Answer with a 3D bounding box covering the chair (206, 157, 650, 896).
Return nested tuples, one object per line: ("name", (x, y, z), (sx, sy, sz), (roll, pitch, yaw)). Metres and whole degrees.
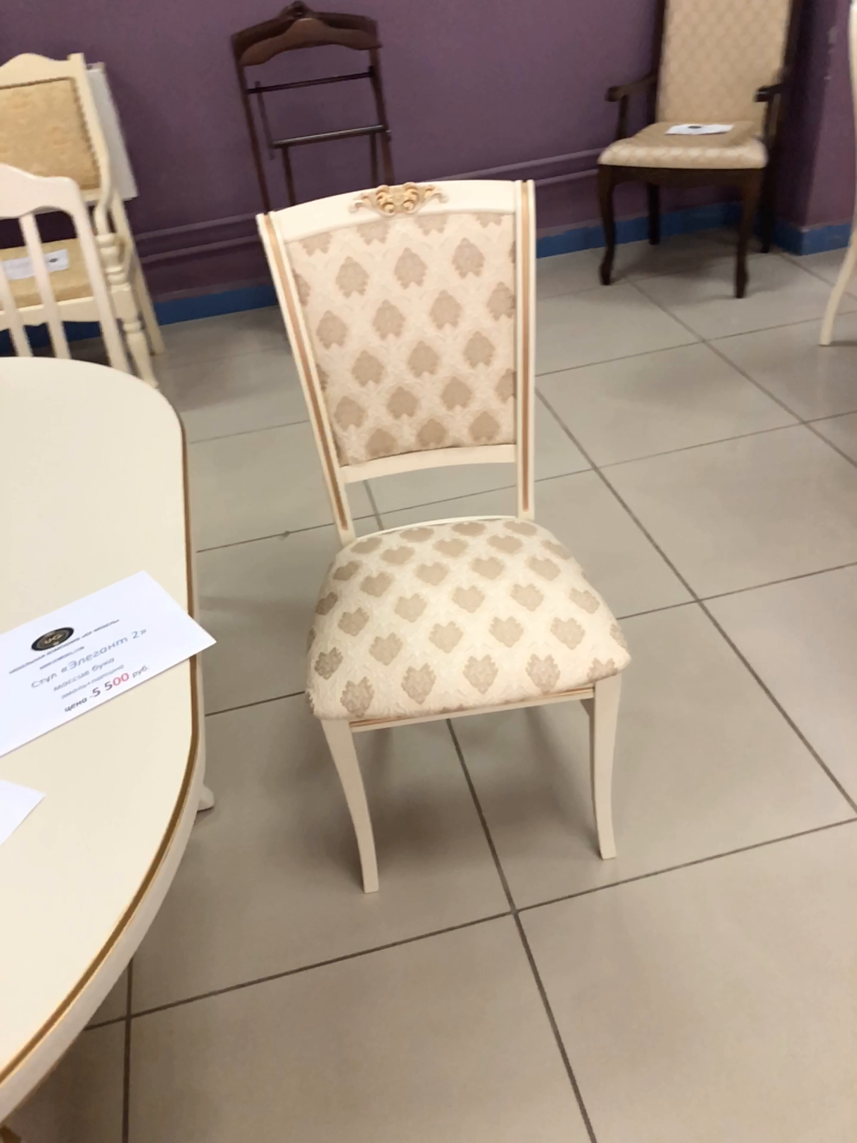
("chair", (0.025, -0.036, 1.415), (0.448, 0.944, 0.483), (-8, 36, -1))
